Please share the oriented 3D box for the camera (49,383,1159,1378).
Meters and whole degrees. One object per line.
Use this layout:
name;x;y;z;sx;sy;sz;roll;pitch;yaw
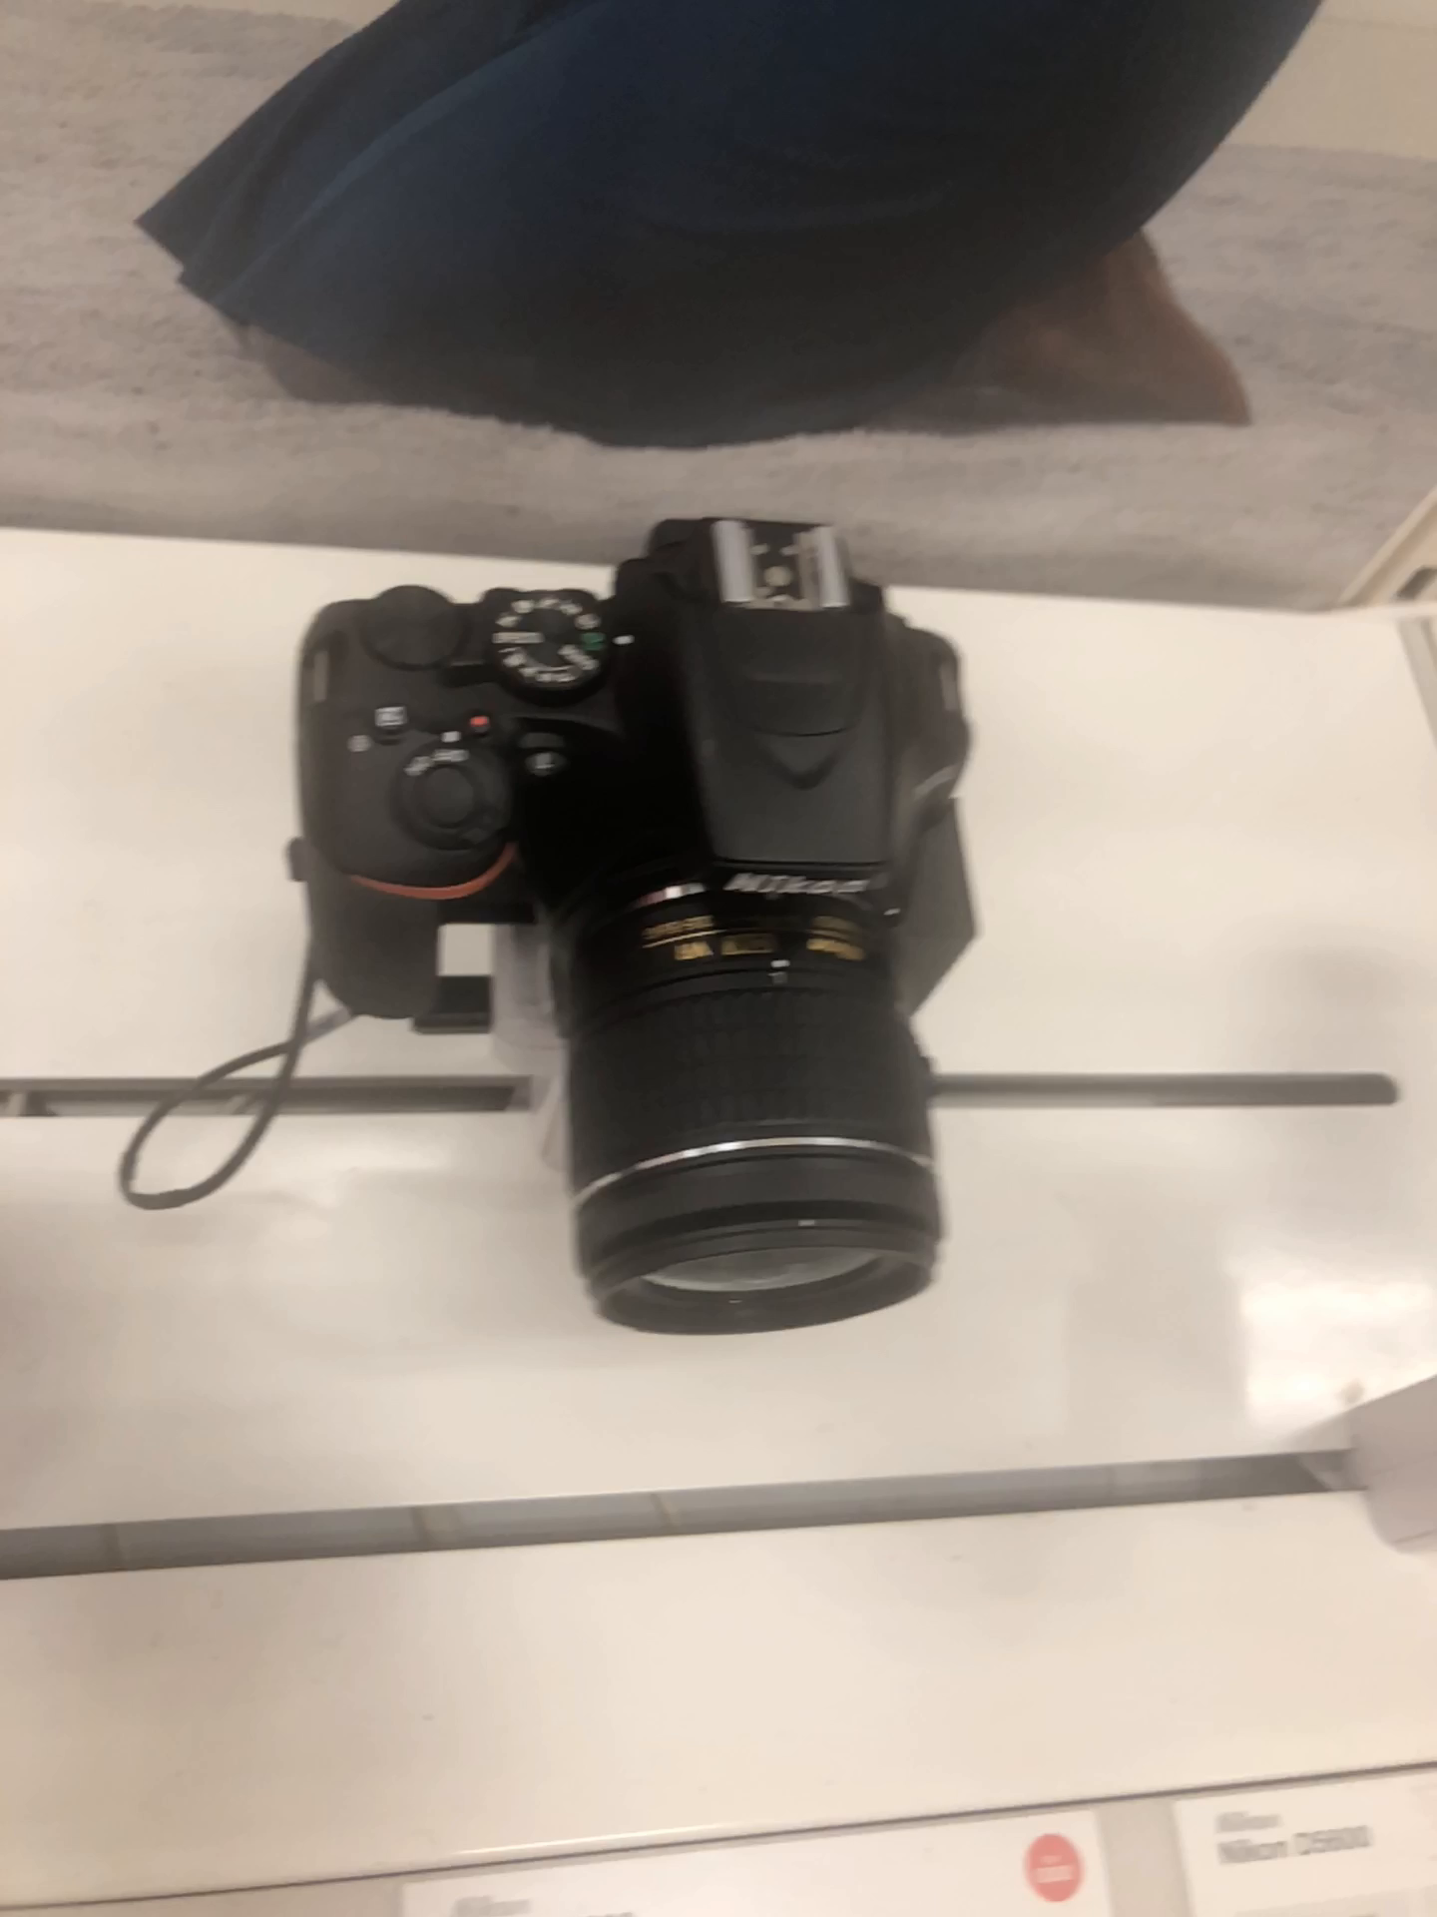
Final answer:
camera;-0.023;-0.008;0.268;0.140;0.090;0.130;1;64;-12
